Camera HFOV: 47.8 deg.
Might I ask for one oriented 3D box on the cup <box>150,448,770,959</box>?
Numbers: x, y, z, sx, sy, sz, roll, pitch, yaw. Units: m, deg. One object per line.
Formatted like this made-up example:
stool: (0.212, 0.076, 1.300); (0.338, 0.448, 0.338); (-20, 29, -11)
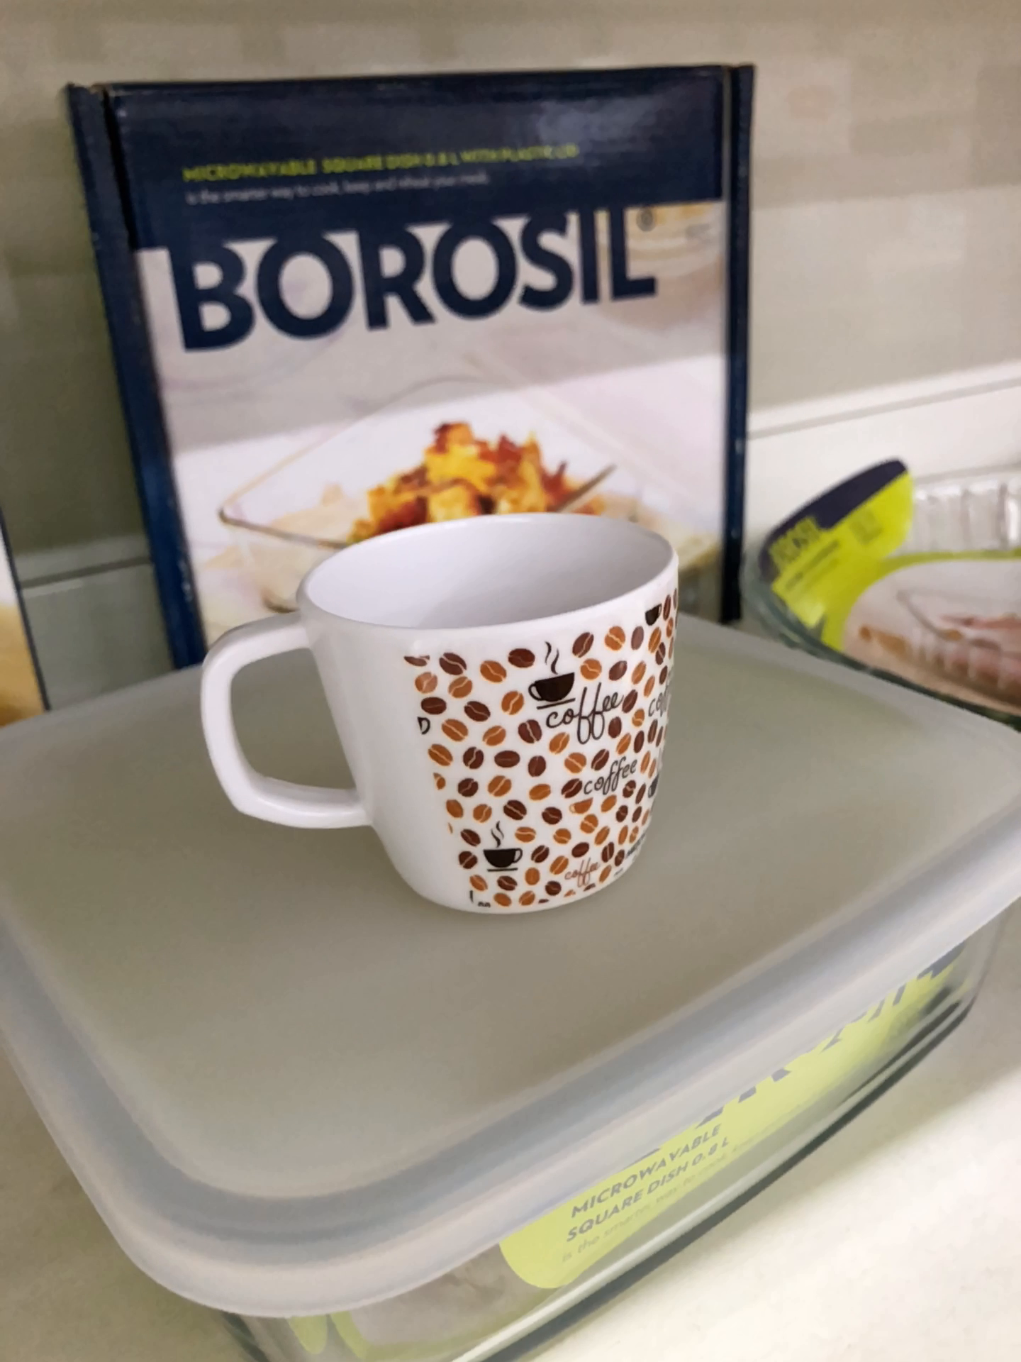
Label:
cup: (-0.009, -0.002, 0.182); (0.080, 0.050, 0.060); (-9, 22, -11)
